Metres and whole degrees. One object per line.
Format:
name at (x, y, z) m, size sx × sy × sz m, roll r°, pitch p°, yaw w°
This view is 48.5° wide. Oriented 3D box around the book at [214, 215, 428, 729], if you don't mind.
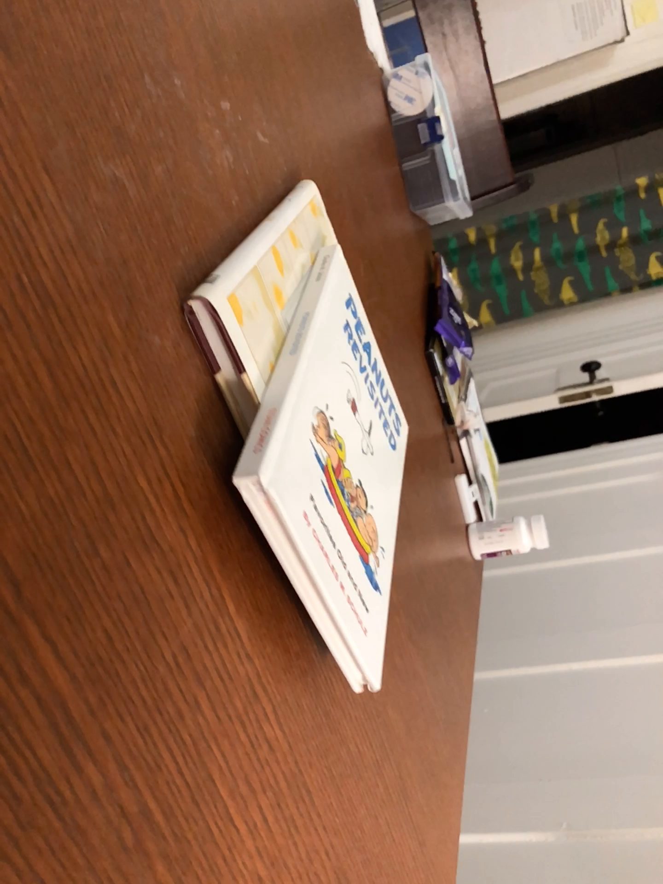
book at (0.013, 0.004, 0.371) m, size 0.211 × 0.020 × 0.160 m, roll -78°, pitch 150°, yaw -49°
